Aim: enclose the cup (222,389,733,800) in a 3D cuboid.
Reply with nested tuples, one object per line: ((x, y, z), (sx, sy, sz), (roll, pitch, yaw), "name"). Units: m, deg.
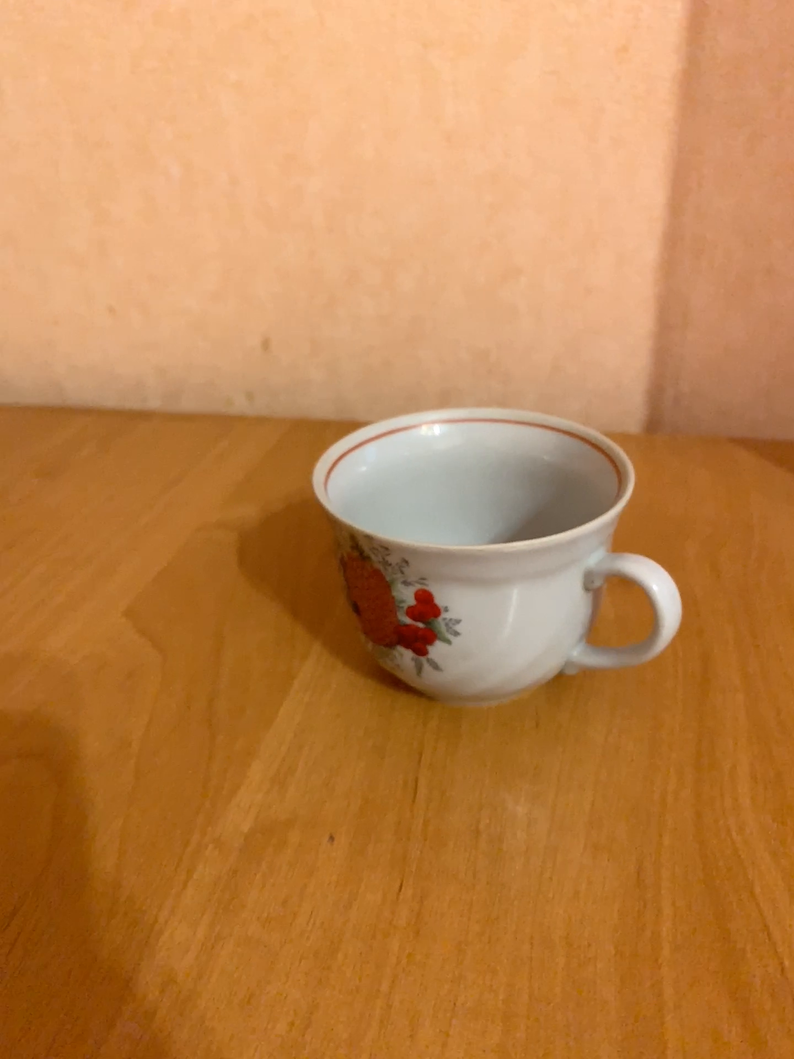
((0.025, 0.008, 0.231), (0.109, 0.056, 0.083), (12, 33, 26), "cup")
